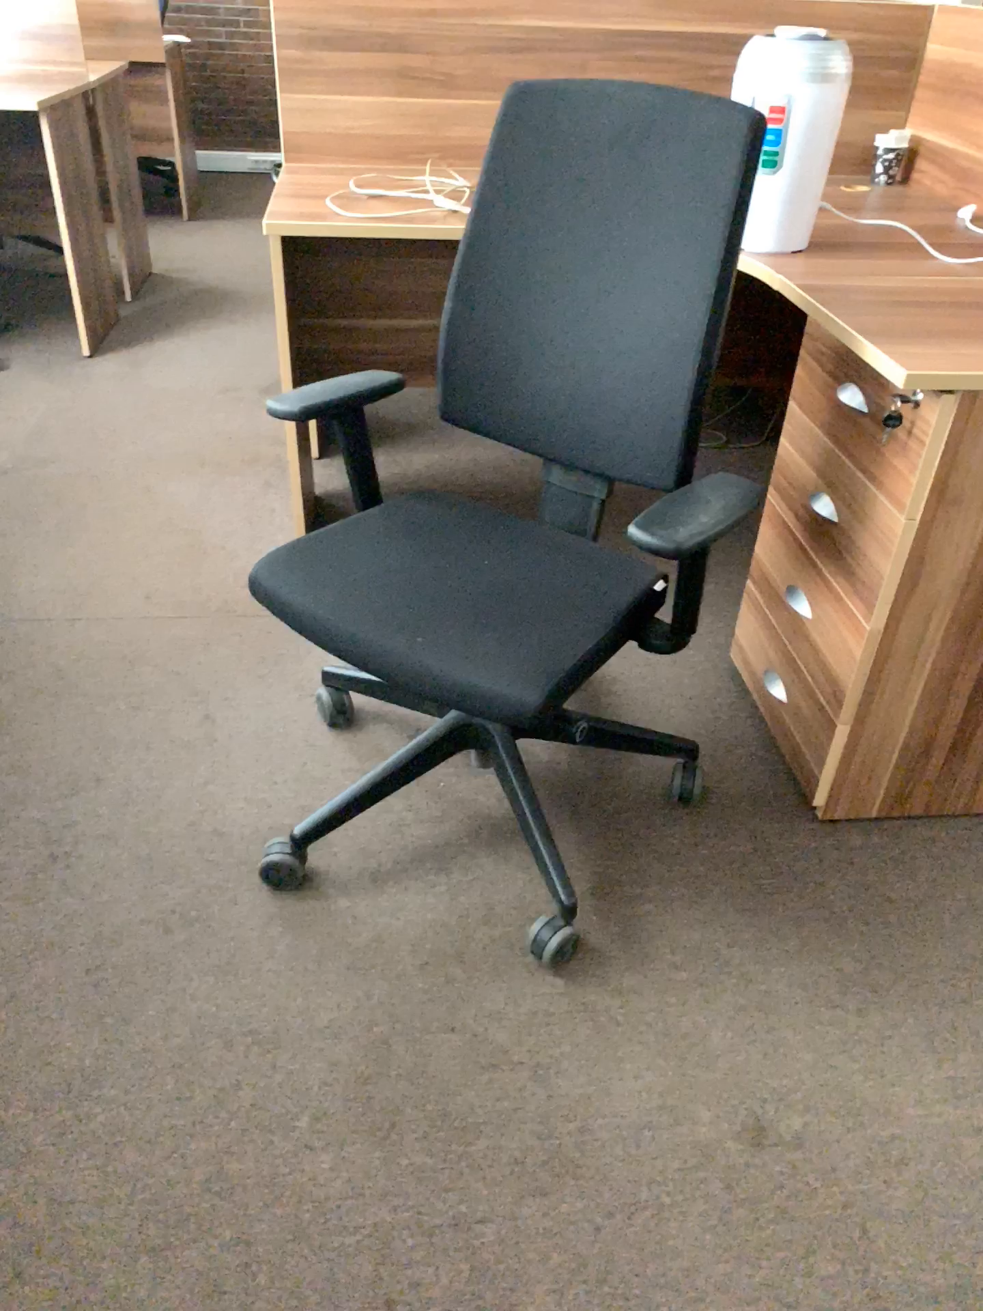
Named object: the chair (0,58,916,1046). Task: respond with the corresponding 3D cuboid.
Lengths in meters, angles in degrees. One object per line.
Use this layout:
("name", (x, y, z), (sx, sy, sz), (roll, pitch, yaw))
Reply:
("chair", (-0.015, -0.220, 1.325), (0.671, 0.915, 0.793), (23, 40, 27))
